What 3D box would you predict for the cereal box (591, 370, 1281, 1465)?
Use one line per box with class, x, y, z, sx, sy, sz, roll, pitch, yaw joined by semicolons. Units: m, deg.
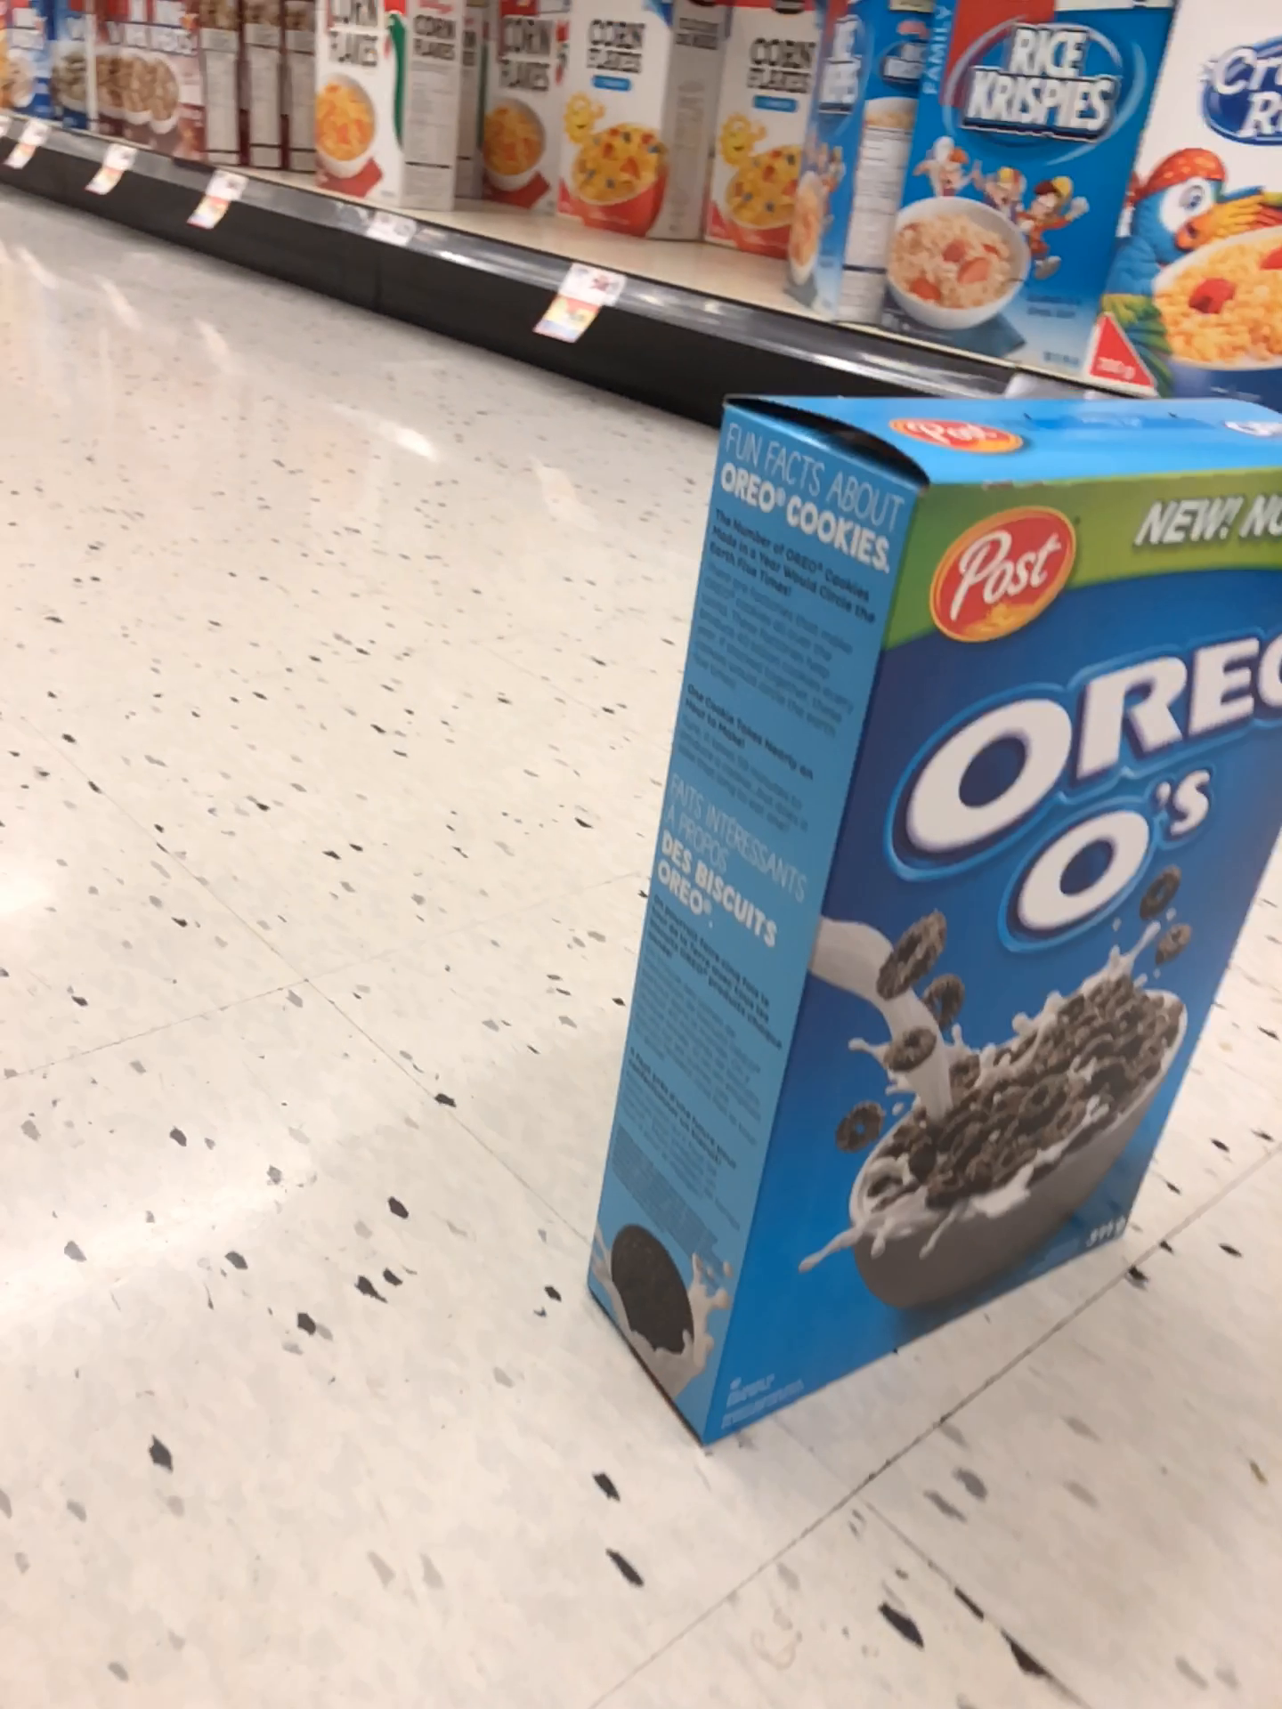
cereal box;0.101;0.013;0.390;0.201;0.268;0.060;-11;33;-33
